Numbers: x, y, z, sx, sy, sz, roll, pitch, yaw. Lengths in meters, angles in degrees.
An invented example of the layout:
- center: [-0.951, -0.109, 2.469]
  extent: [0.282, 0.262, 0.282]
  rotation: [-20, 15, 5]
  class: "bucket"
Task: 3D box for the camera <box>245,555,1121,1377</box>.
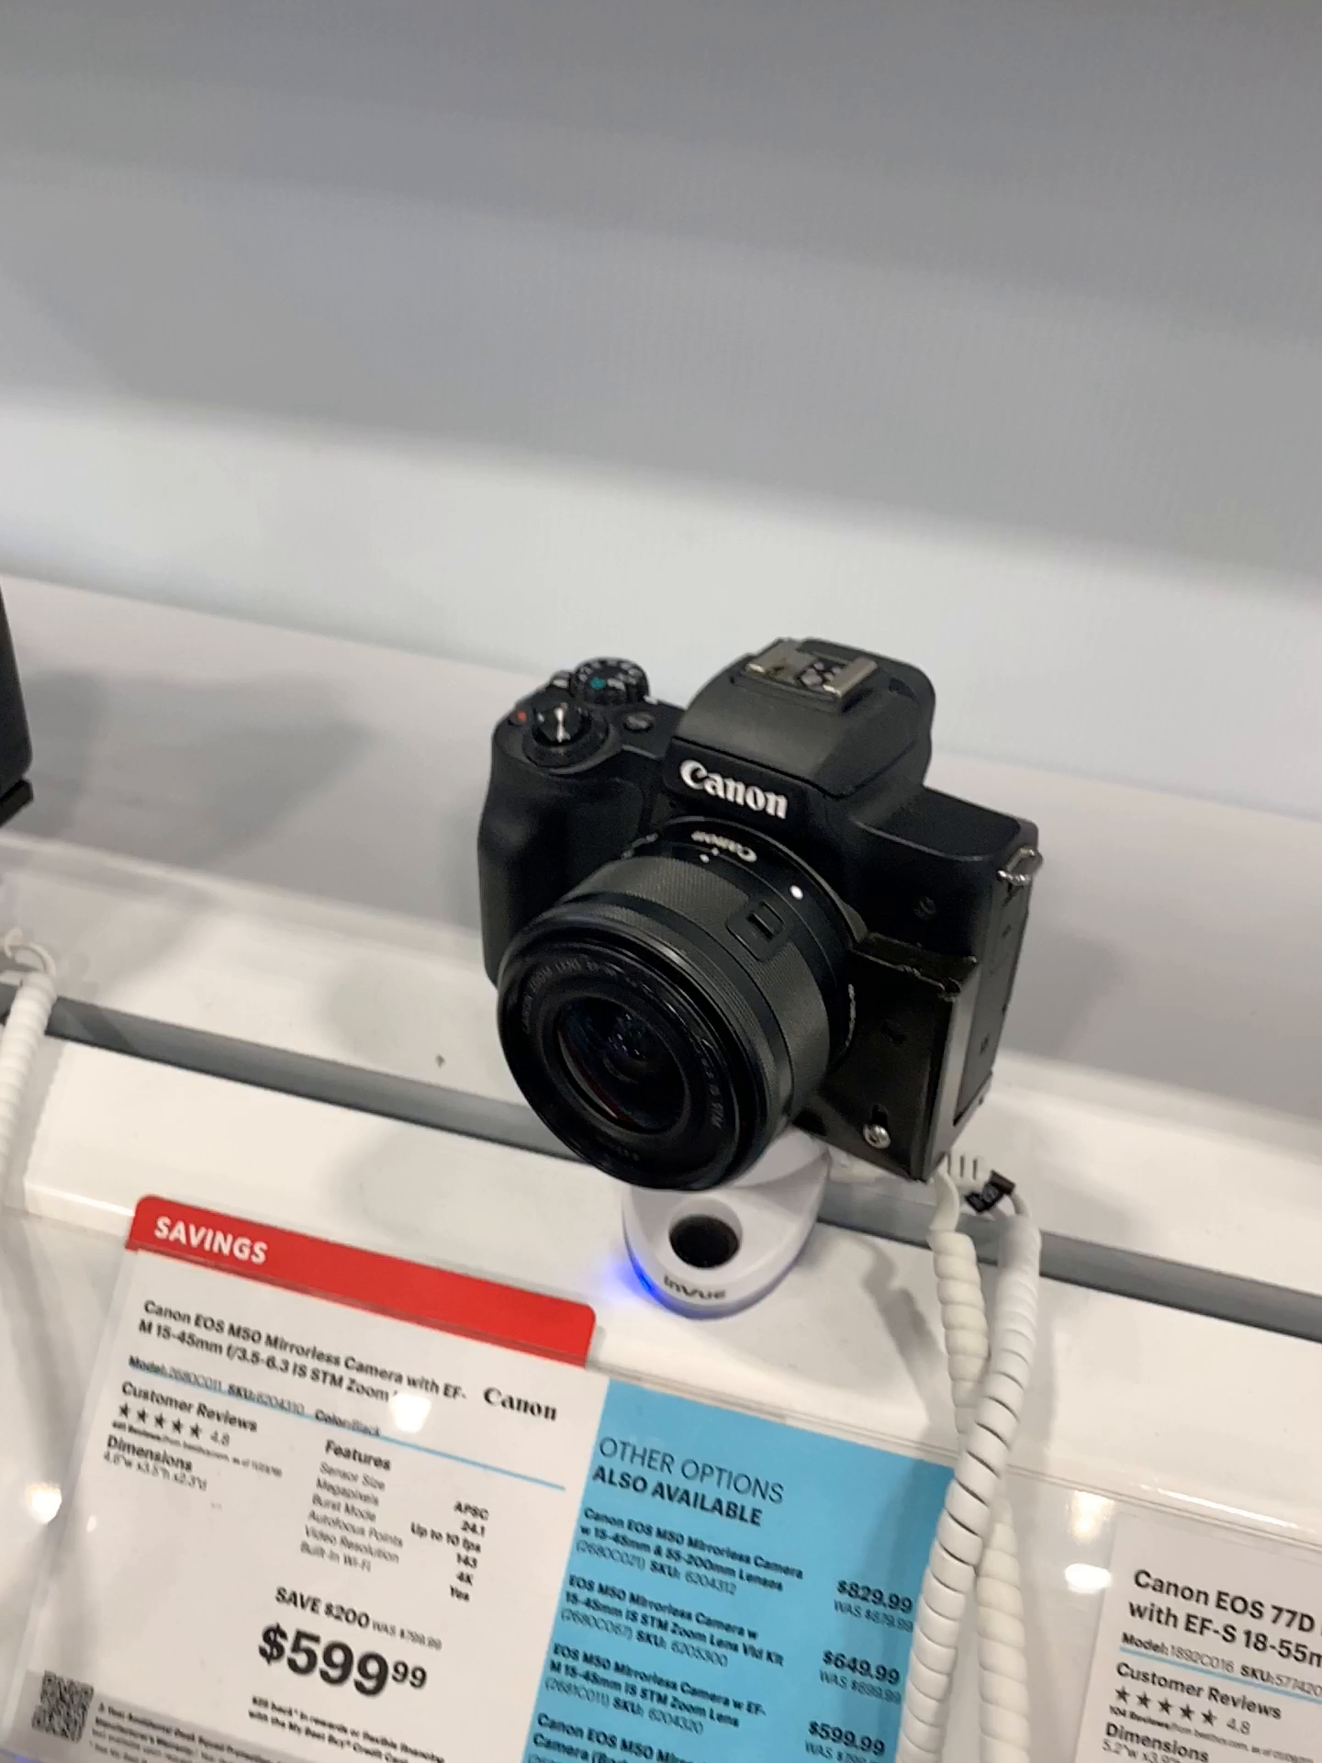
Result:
- center: [0.007, 0.004, 0.270]
  extent: [0.121, 0.080, 0.110]
  rotation: [20, 37, 21]
  class: "camera"
